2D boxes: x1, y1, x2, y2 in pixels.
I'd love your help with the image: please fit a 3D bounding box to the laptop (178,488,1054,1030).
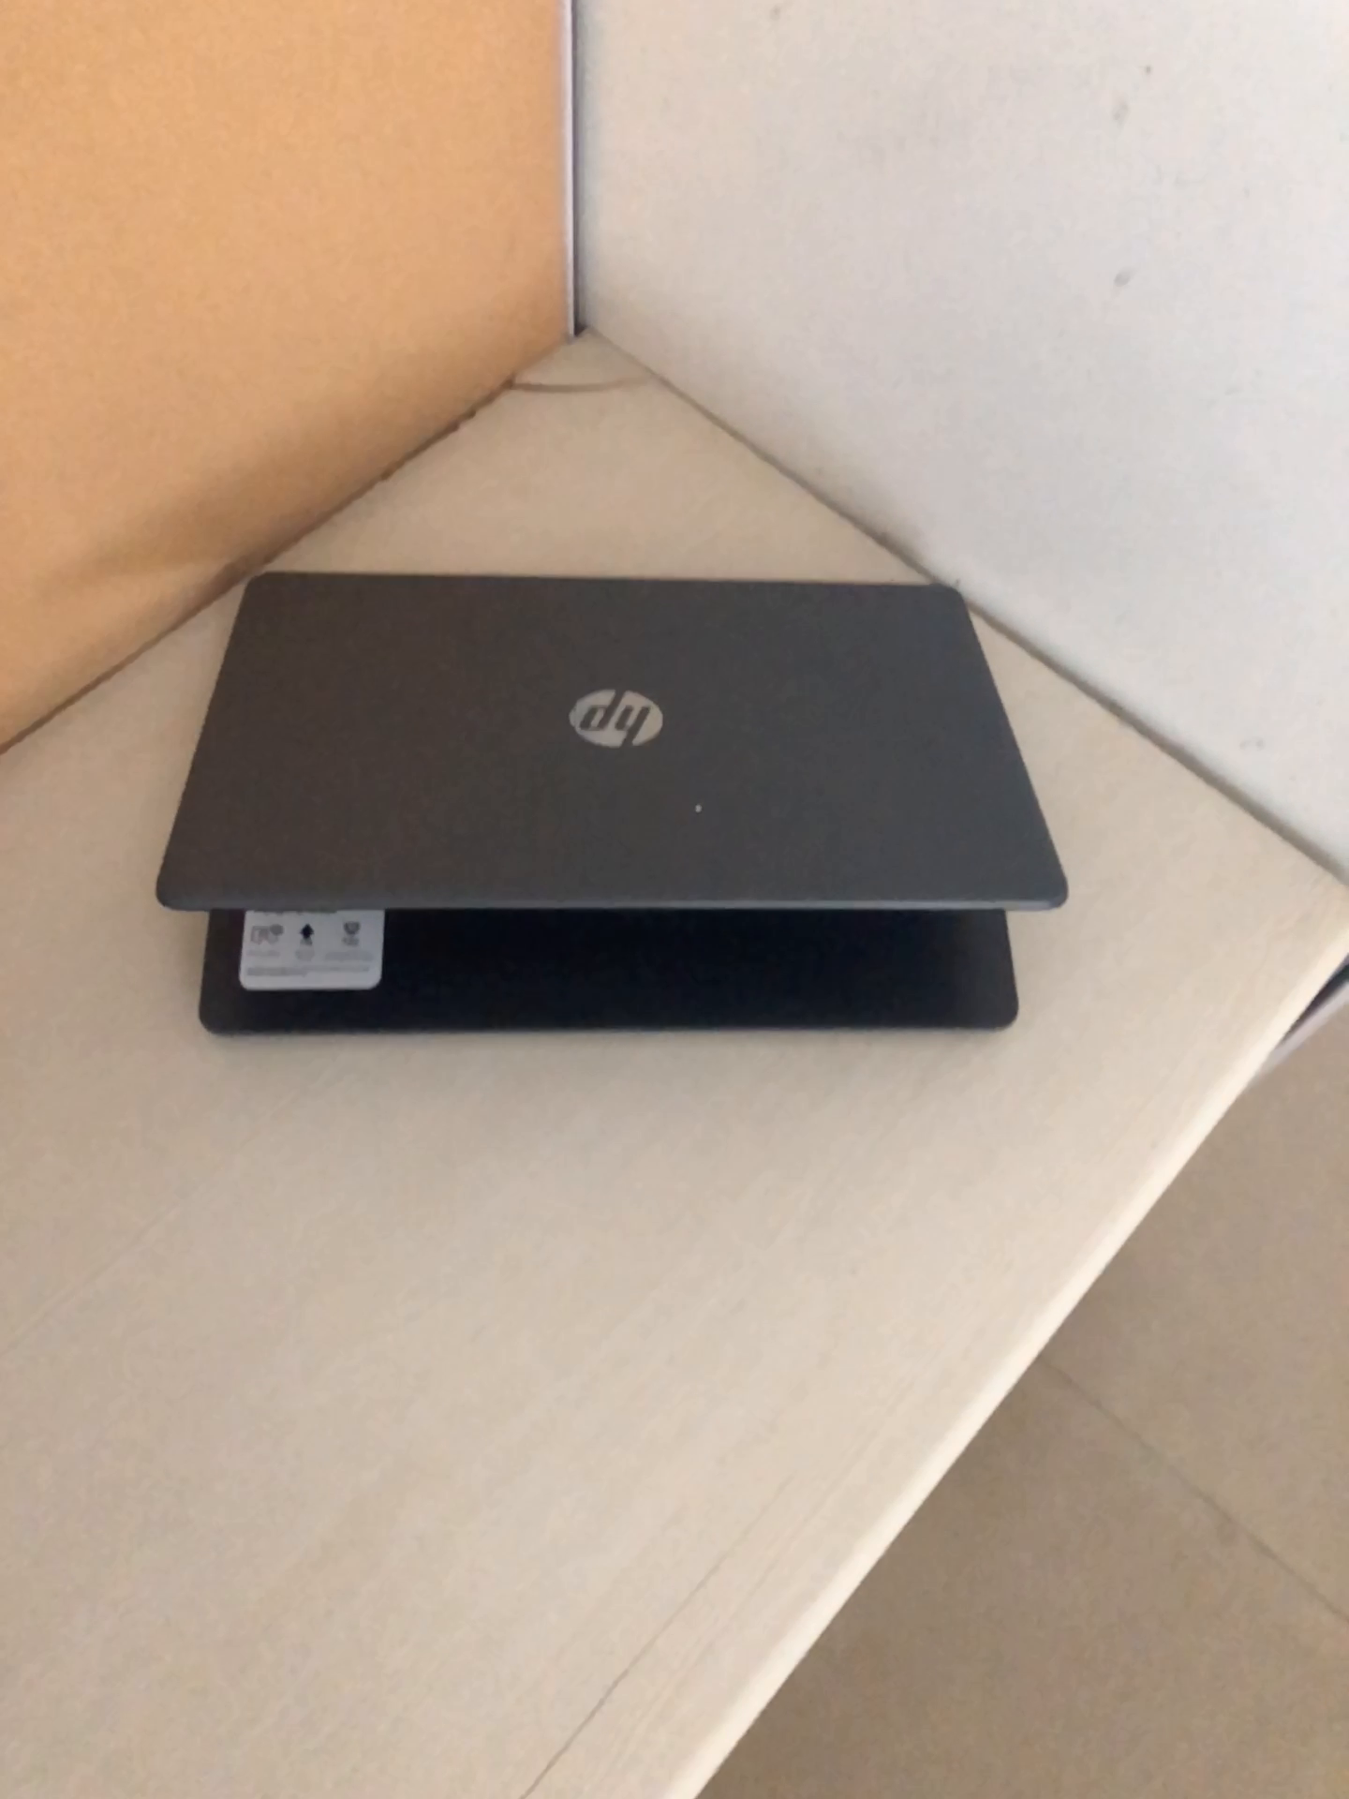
[{"bbox_3d":[-0.028,-0.067,0.696,0.361,0.074,0.238,0,66,-4],"label":"laptop"}]
